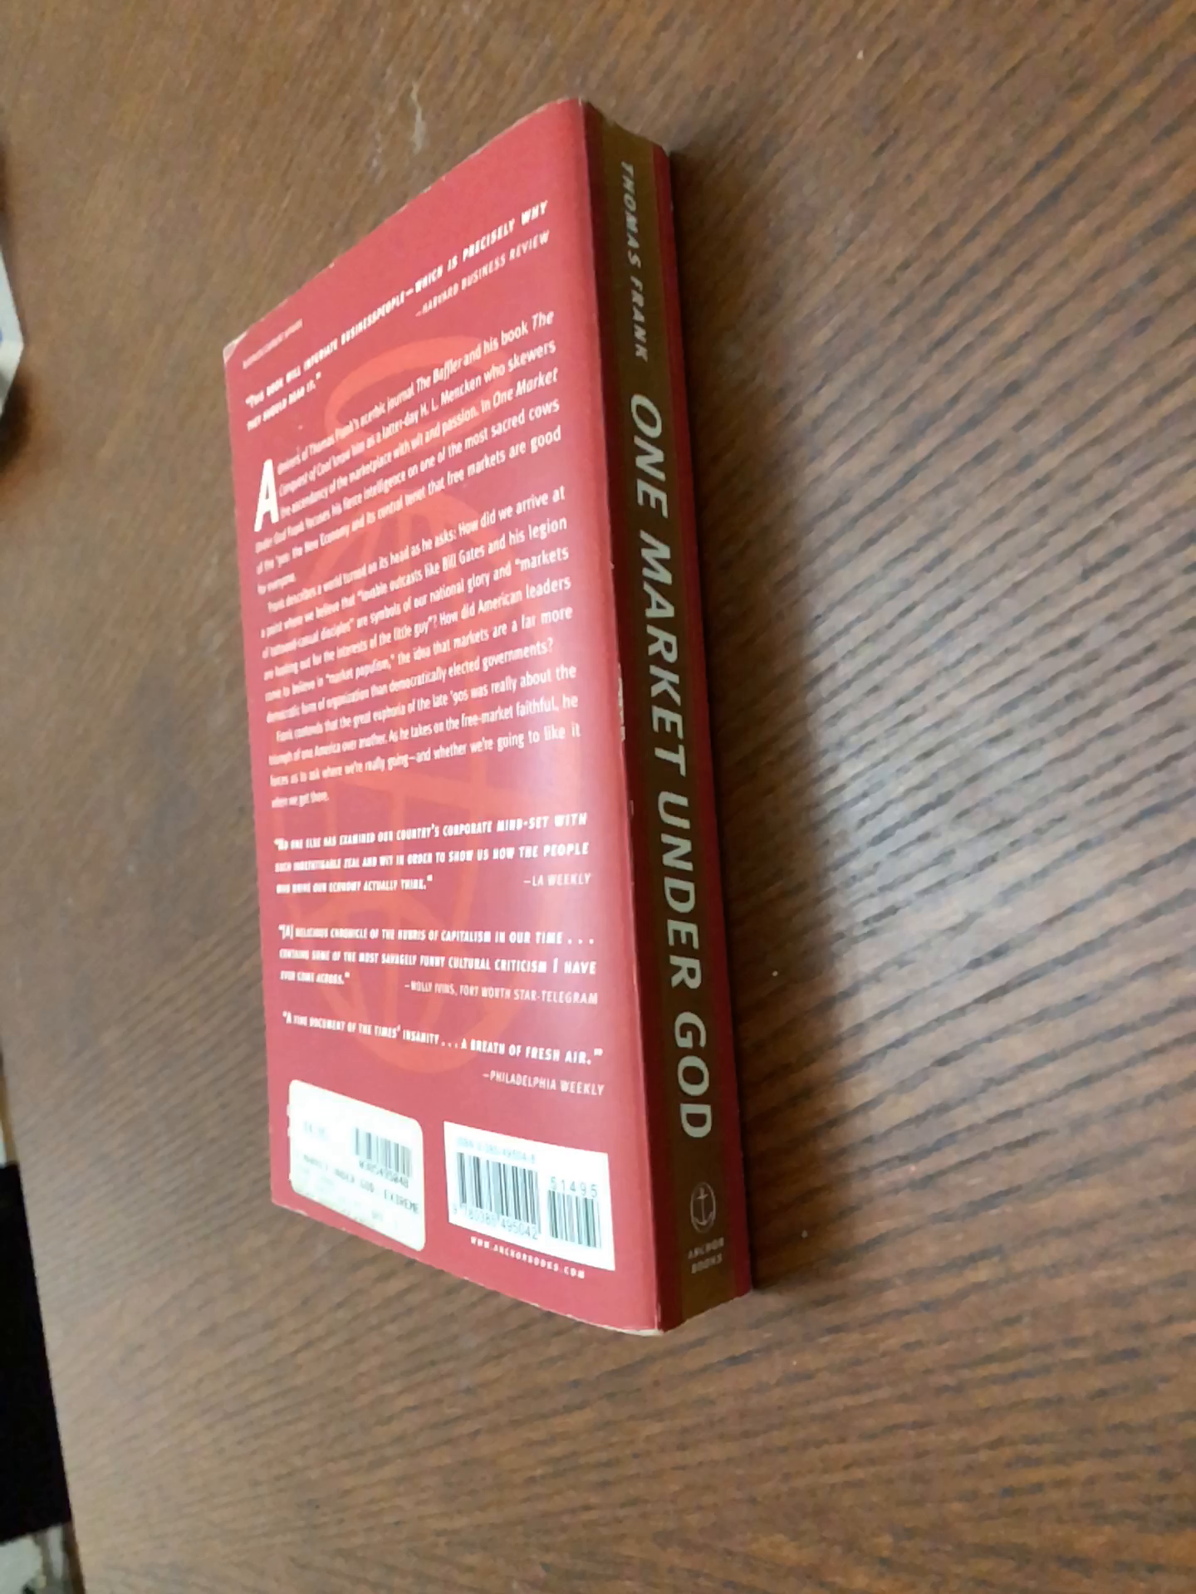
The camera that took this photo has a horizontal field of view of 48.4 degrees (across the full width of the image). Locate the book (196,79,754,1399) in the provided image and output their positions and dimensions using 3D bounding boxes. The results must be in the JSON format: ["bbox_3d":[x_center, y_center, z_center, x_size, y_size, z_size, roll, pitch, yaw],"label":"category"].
[{"bbox_3d":[-0.036,-0.007,0.275,0.141,0.030,0.210,-6,87,51],"label":"book"}]
